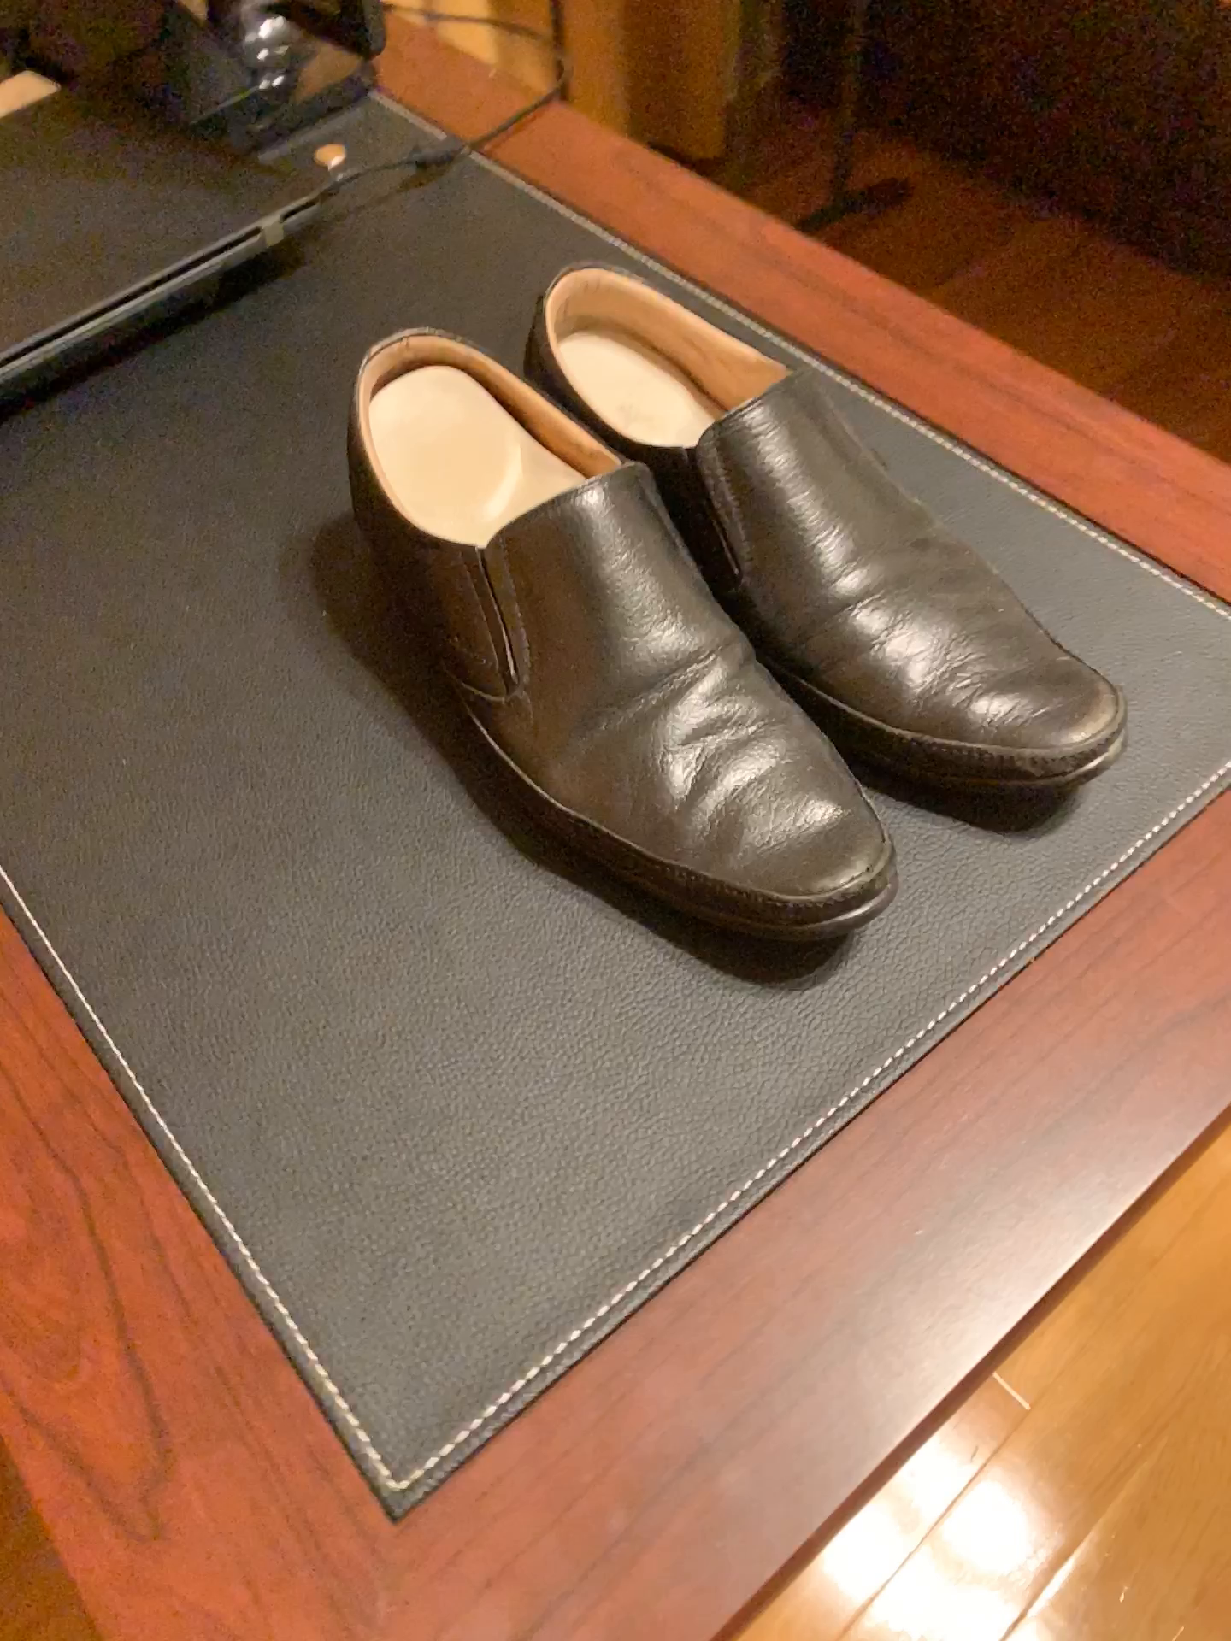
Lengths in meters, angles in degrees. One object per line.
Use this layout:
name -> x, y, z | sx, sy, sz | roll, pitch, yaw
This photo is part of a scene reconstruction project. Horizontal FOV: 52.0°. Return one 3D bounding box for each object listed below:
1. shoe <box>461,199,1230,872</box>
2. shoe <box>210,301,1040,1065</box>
shoe -> 0.074, -0.121, 0.468 | 0.106, 0.077, 0.285 | -35, 59, -20
shoe -> -0.011, -0.065, 0.437 | 0.110, 0.077, 0.285 | -35, 59, -20
